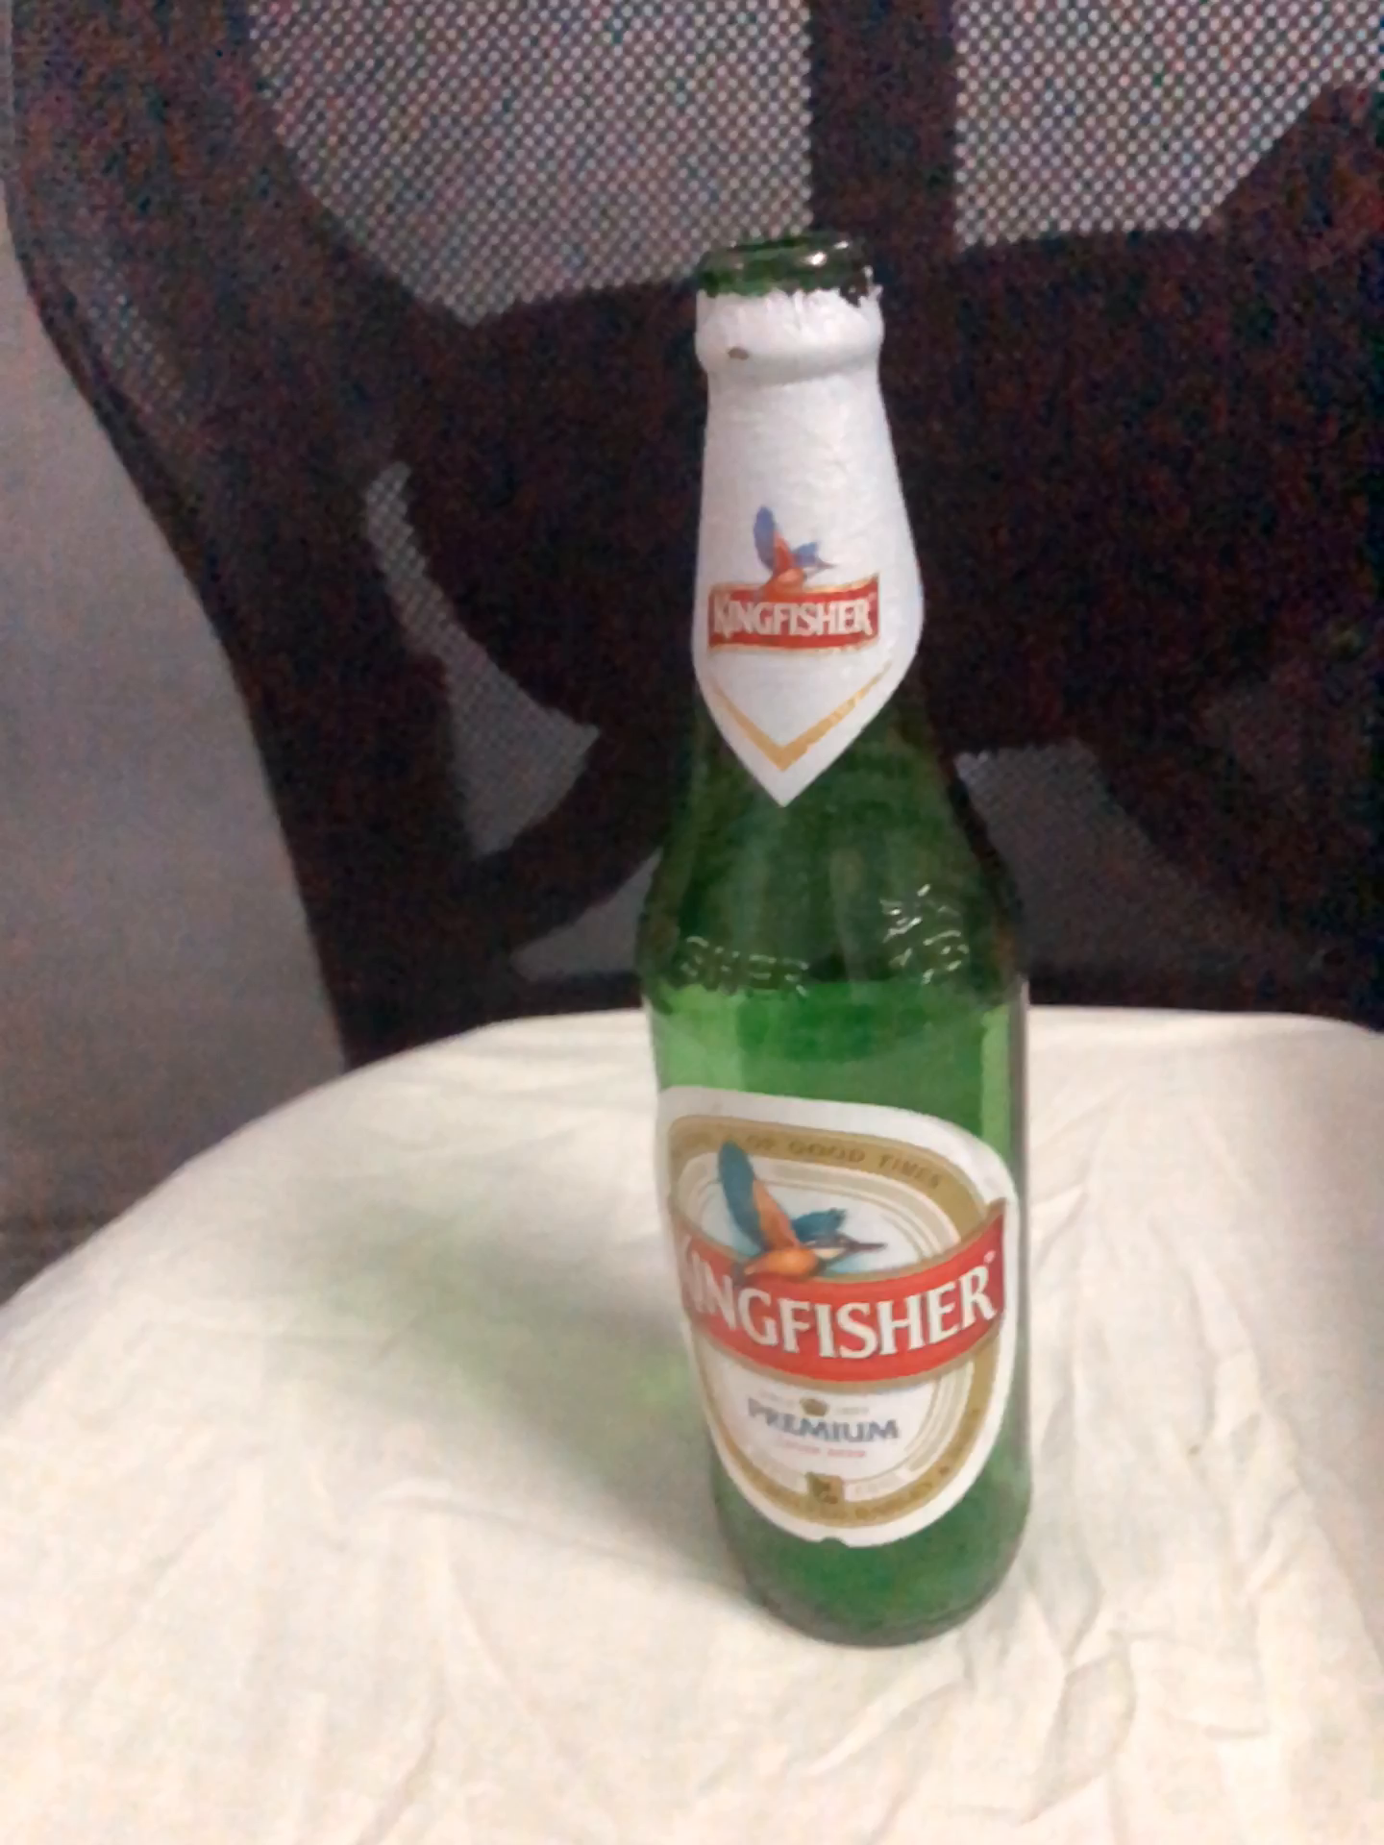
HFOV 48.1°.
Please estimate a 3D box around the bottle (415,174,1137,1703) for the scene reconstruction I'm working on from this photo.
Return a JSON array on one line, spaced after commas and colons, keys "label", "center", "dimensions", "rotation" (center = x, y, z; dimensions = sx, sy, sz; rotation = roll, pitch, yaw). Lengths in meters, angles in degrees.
[{"label": "bottle", "center": [0.027, 0.017, 0.275], "dimensions": [0.080, 0.259, 0.070], "rotation": [6, 32, 21]}]
